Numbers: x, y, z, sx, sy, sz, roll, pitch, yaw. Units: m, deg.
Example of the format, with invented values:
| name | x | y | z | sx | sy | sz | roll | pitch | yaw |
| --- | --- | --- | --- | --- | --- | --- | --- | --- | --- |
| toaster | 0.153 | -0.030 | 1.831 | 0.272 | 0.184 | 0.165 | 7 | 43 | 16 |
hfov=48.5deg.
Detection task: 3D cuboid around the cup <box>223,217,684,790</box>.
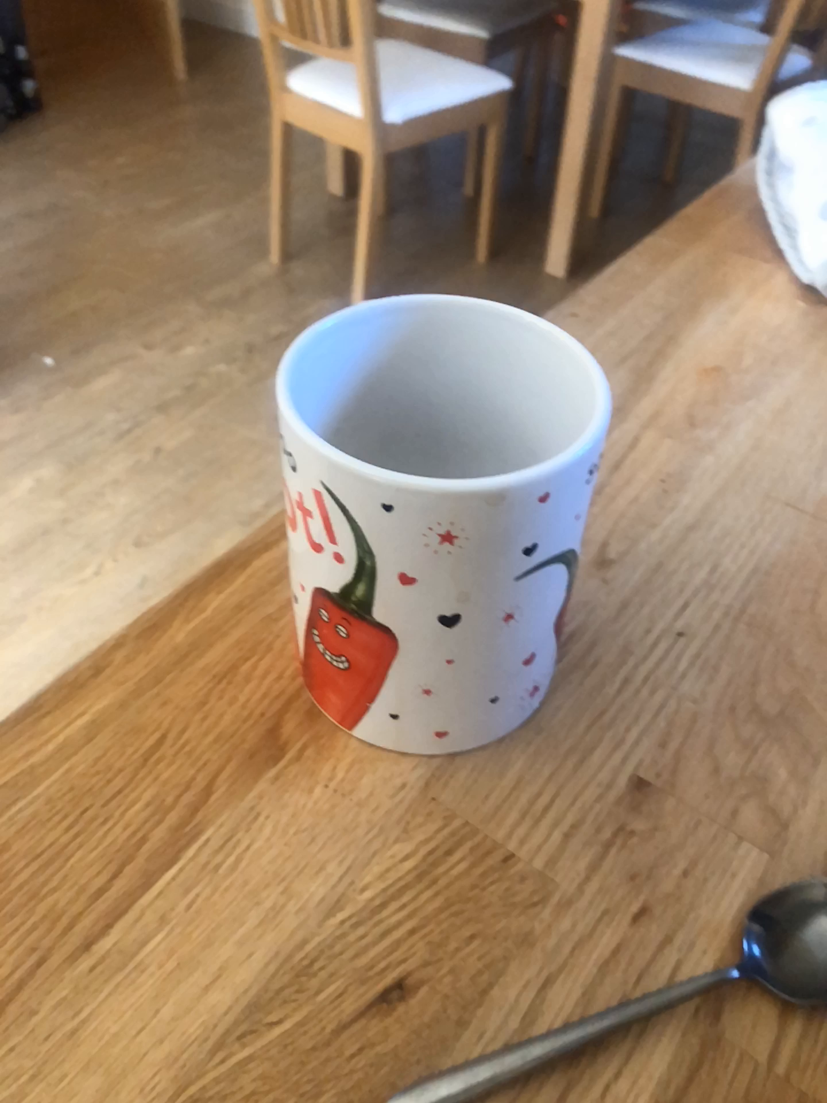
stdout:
| name | x | y | z | sx | sy | sz | roll | pitch | yaw |
| --- | --- | --- | --- | --- | --- | --- | --- | --- | --- |
| cup | 0.000 | -0.022 | 0.293 | 0.097 | 0.109 | 0.137 | -8 | 44 | -11 |
